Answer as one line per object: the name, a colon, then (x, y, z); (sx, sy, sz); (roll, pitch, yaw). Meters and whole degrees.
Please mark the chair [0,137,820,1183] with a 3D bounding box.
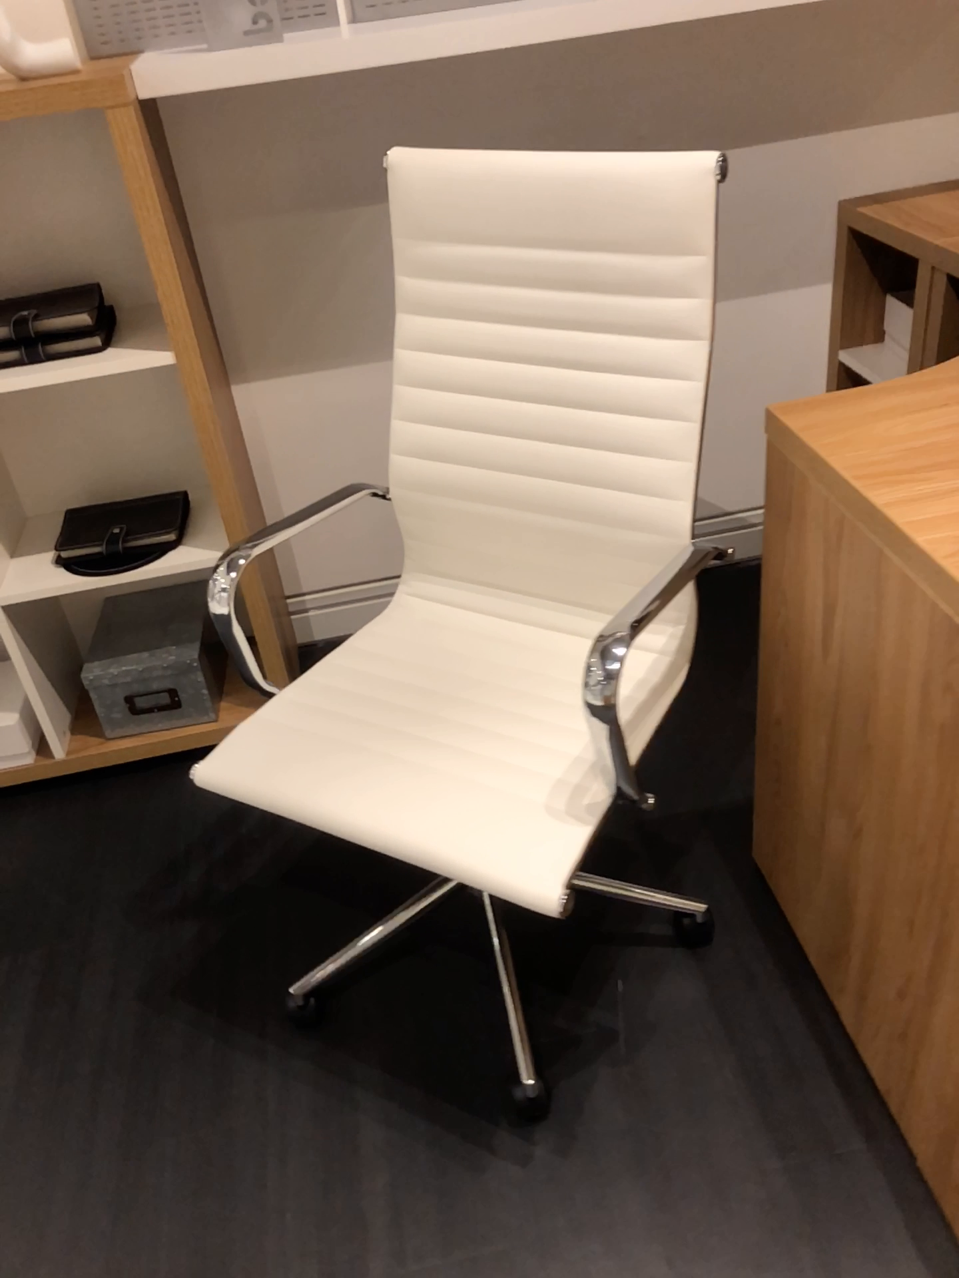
chair: (-0.010, -0.010, 1.328); (0.631, 1.012, 0.634); (13, 39, 28)
